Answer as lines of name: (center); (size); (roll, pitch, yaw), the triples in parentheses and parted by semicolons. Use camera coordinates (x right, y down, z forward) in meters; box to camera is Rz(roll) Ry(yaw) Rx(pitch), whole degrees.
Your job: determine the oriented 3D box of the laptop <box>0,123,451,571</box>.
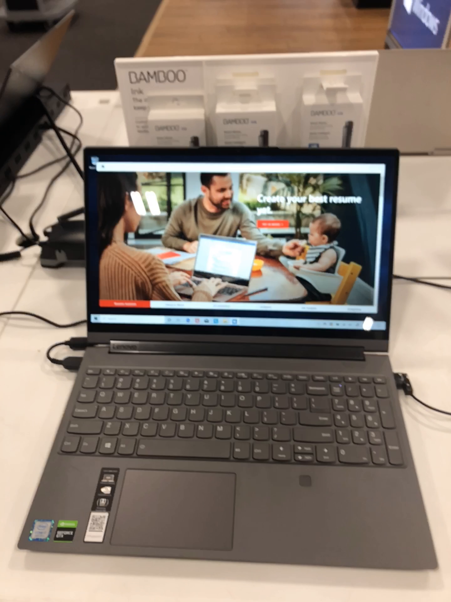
laptop: (0.009, 0.014, 0.491); (0.336, 0.169, 0.376); (1, 49, 3)
